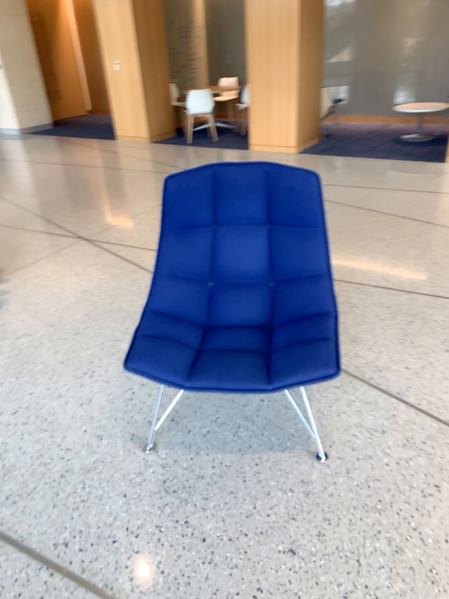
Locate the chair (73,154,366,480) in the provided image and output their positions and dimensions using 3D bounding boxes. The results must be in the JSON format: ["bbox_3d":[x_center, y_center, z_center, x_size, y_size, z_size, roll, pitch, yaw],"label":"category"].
[{"bbox_3d":[0.050,0.014,1.805,0.798,0.963,0.835,1,29,8],"label":"chair"}]
